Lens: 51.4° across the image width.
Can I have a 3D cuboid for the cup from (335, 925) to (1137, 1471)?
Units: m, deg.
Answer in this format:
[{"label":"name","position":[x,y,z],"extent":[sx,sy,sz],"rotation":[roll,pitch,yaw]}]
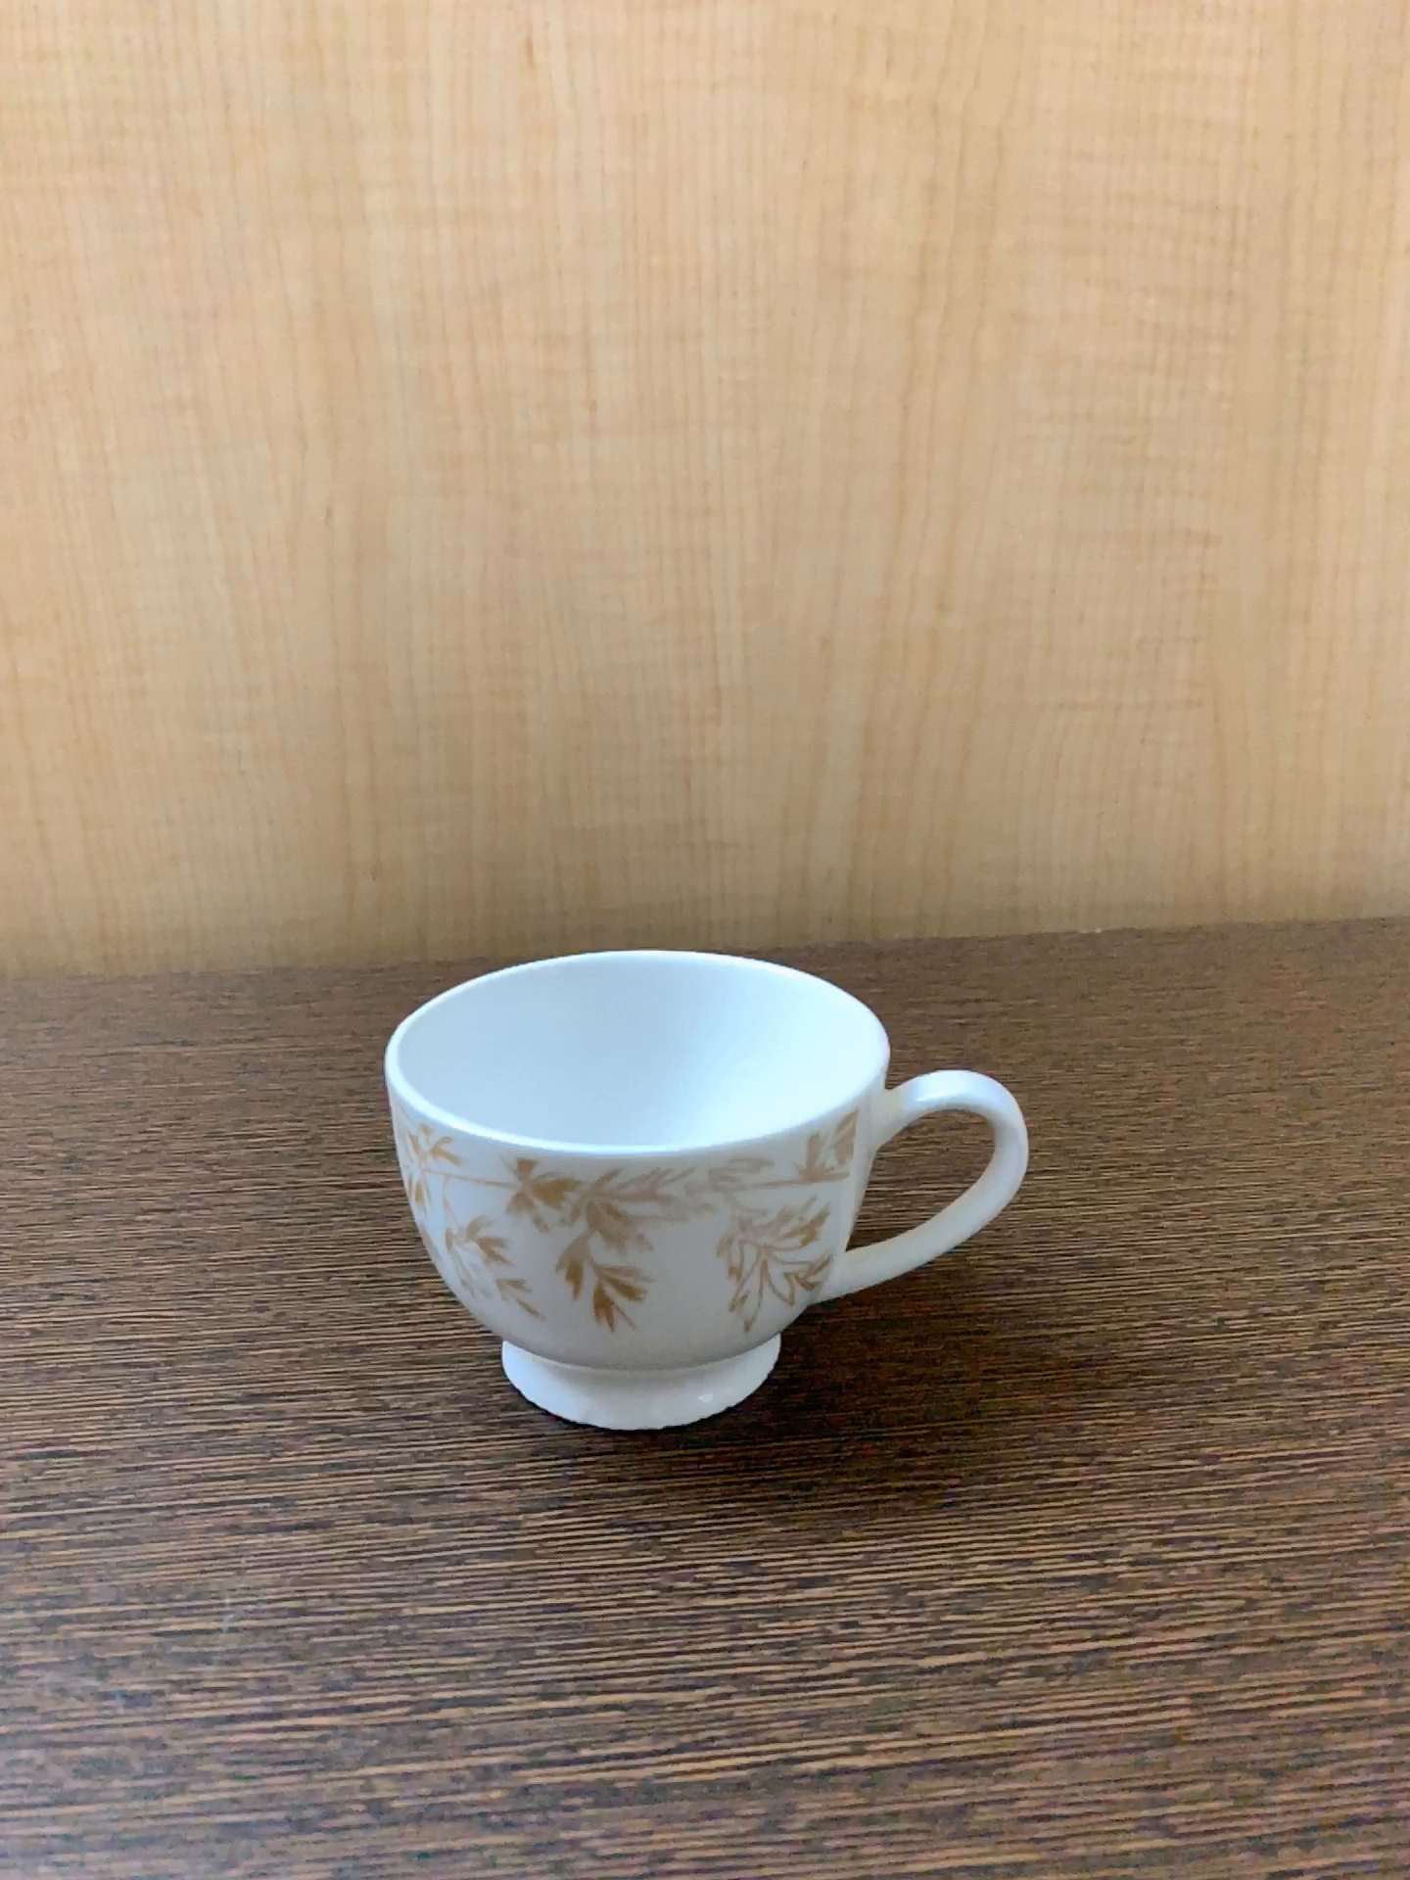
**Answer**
[{"label":"cup","position":[0.004,0.034,0.228],"extent":[0.100,0.050,0.081],"rotation":[0,19,0]}]
